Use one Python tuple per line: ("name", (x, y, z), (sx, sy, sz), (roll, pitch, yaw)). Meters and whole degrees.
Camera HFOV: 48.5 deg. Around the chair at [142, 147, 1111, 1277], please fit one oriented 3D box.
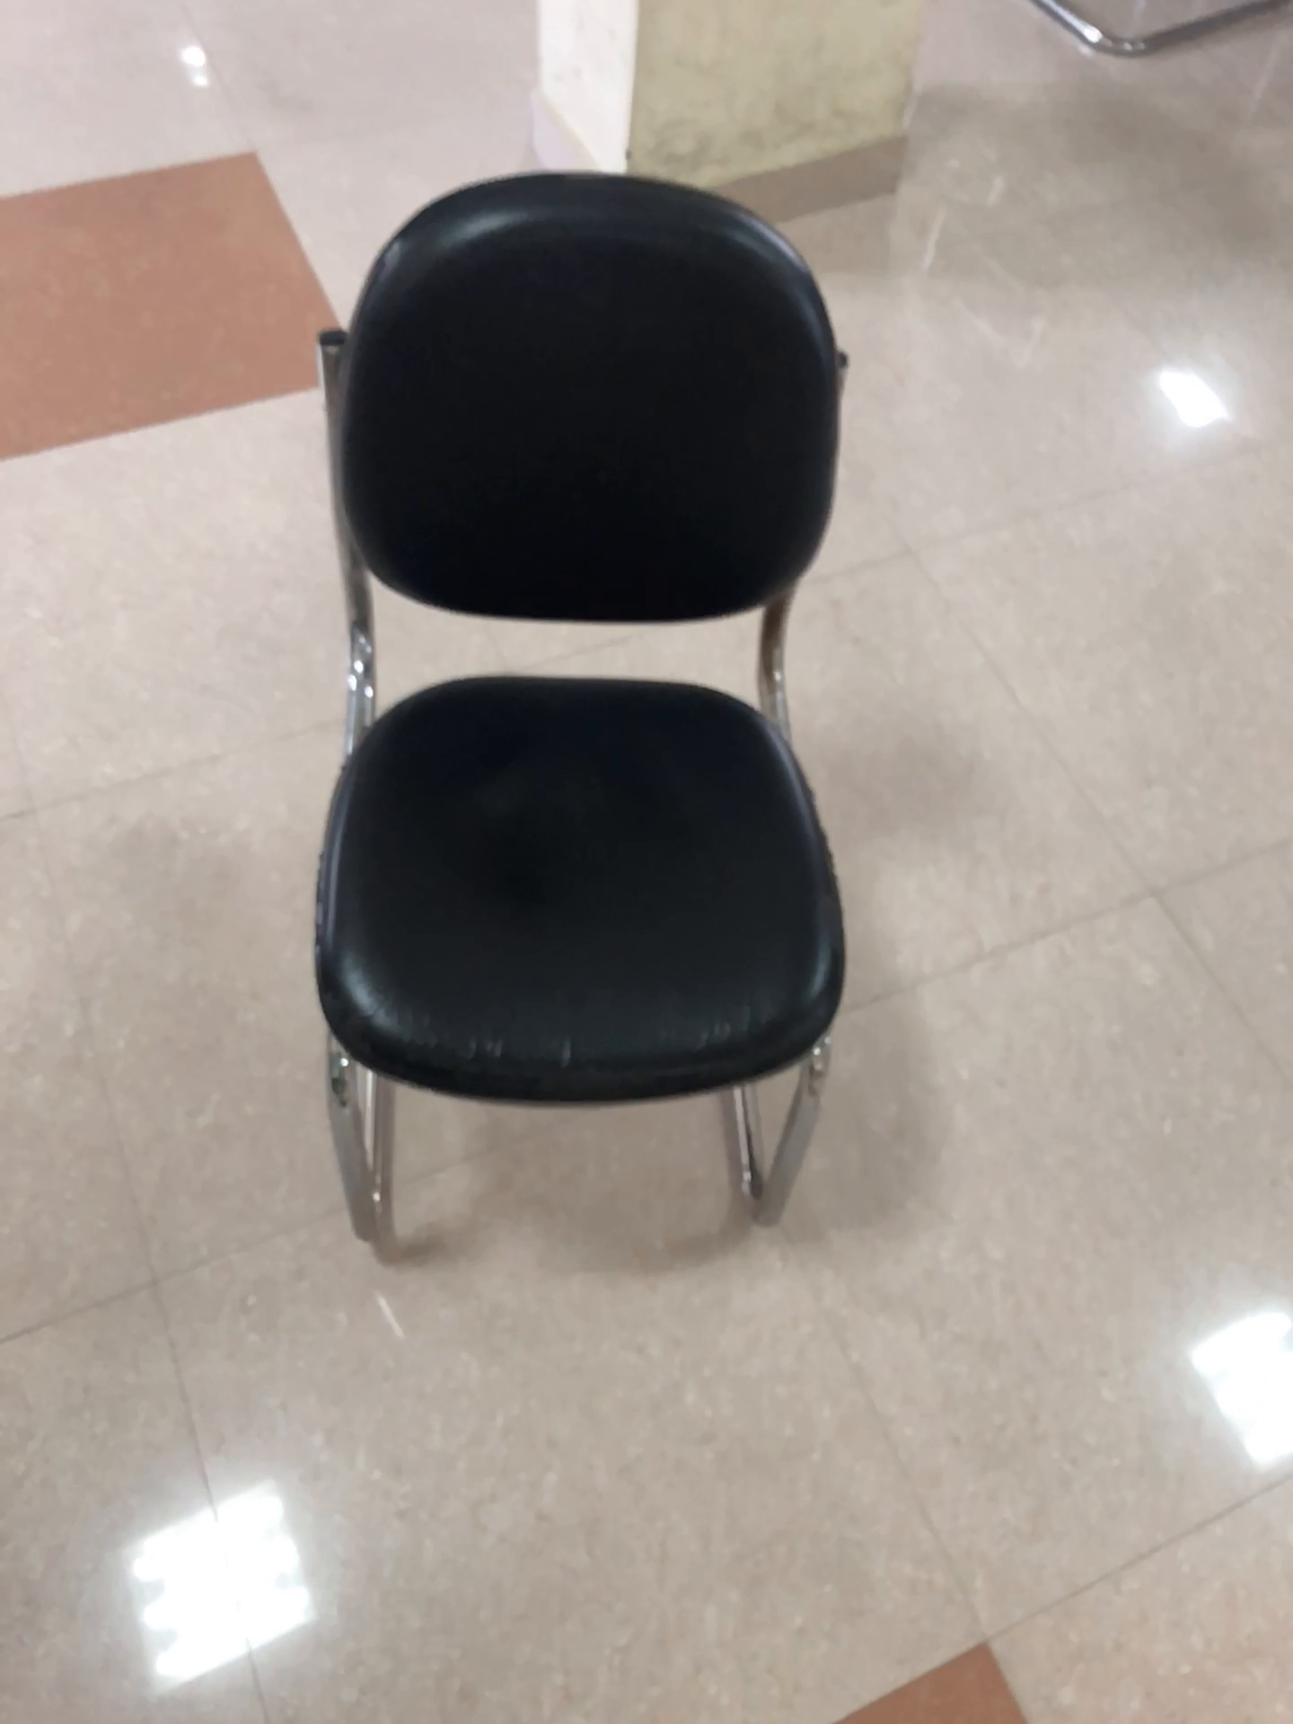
("chair", (-0.051, -0.069, 1.213), (0.500, 0.759, 0.591), (-2, 58, -6))
